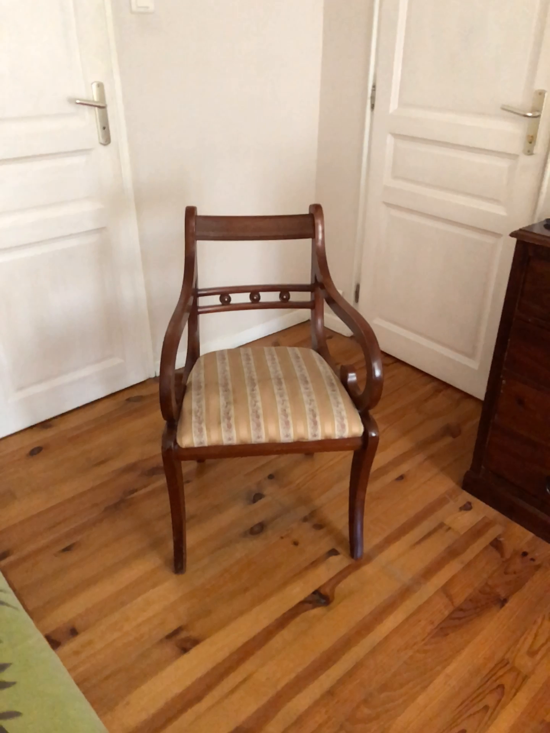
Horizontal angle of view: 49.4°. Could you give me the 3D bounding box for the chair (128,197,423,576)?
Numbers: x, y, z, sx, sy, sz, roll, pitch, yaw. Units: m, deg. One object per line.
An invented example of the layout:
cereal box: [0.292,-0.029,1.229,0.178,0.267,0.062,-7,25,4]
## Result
chair: [-0.019,0.031,1.618,0.580,0.825,0.573,-2,29,-4]
